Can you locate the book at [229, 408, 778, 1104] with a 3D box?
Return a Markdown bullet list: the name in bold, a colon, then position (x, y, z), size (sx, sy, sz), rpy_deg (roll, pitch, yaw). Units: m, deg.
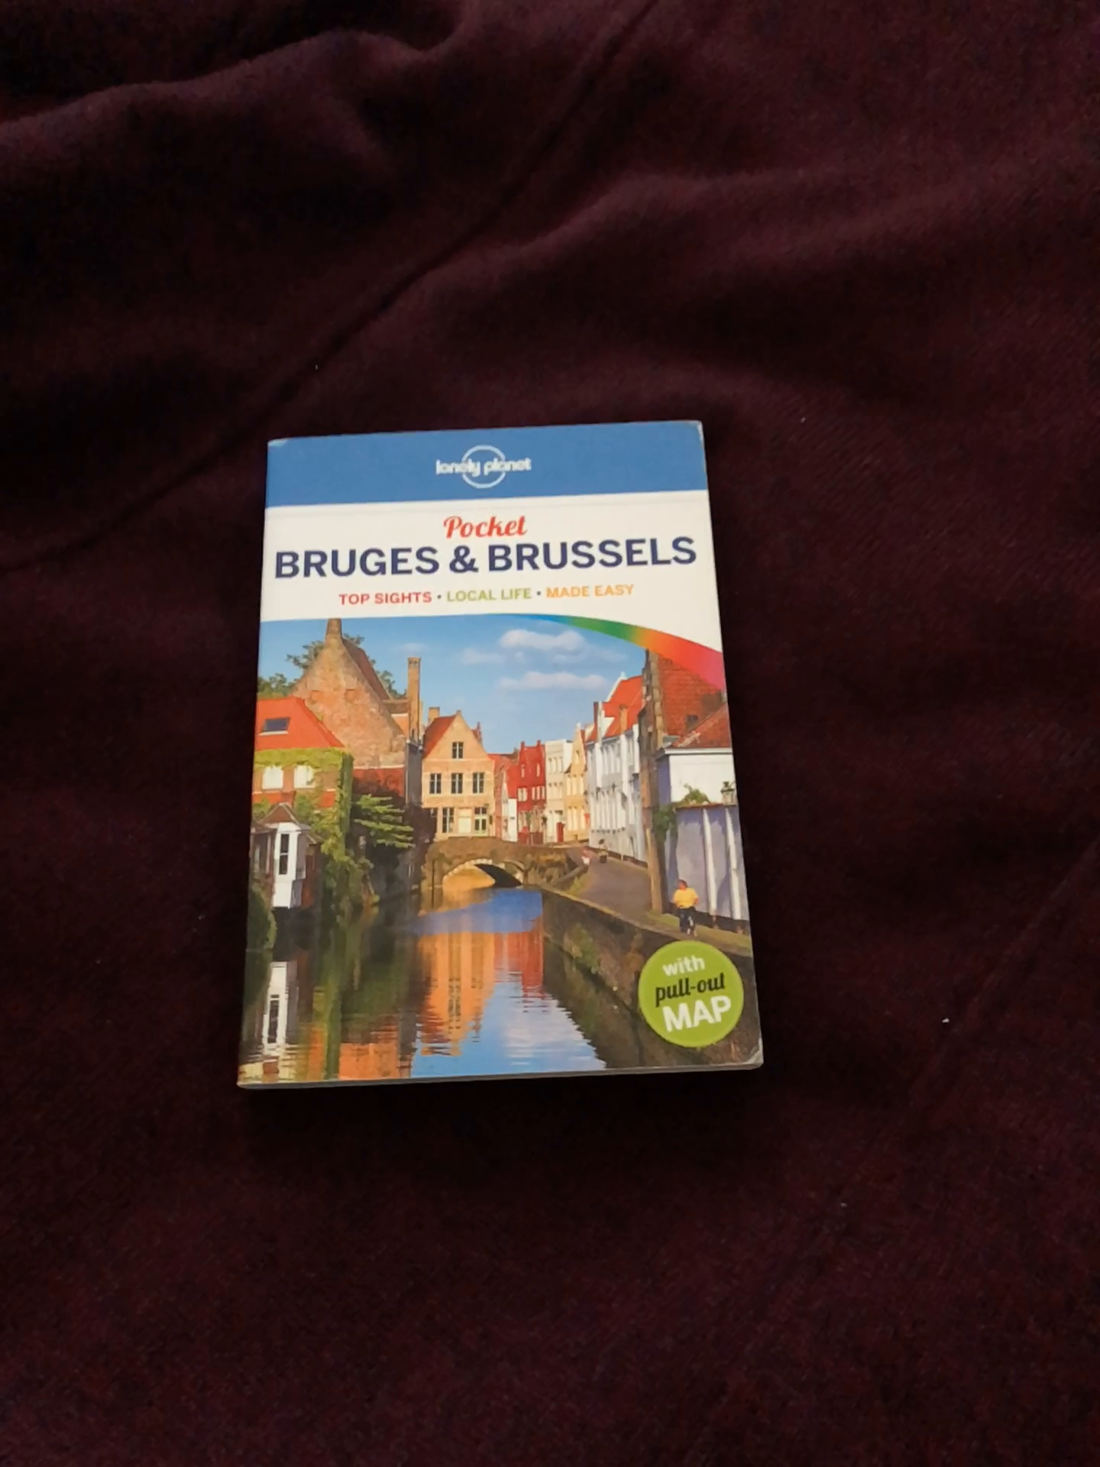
- **book**: position (-0.013, -0.001, 0.281), size (0.110, 0.016, 0.158), rpy_deg (-3, 69, 0)
